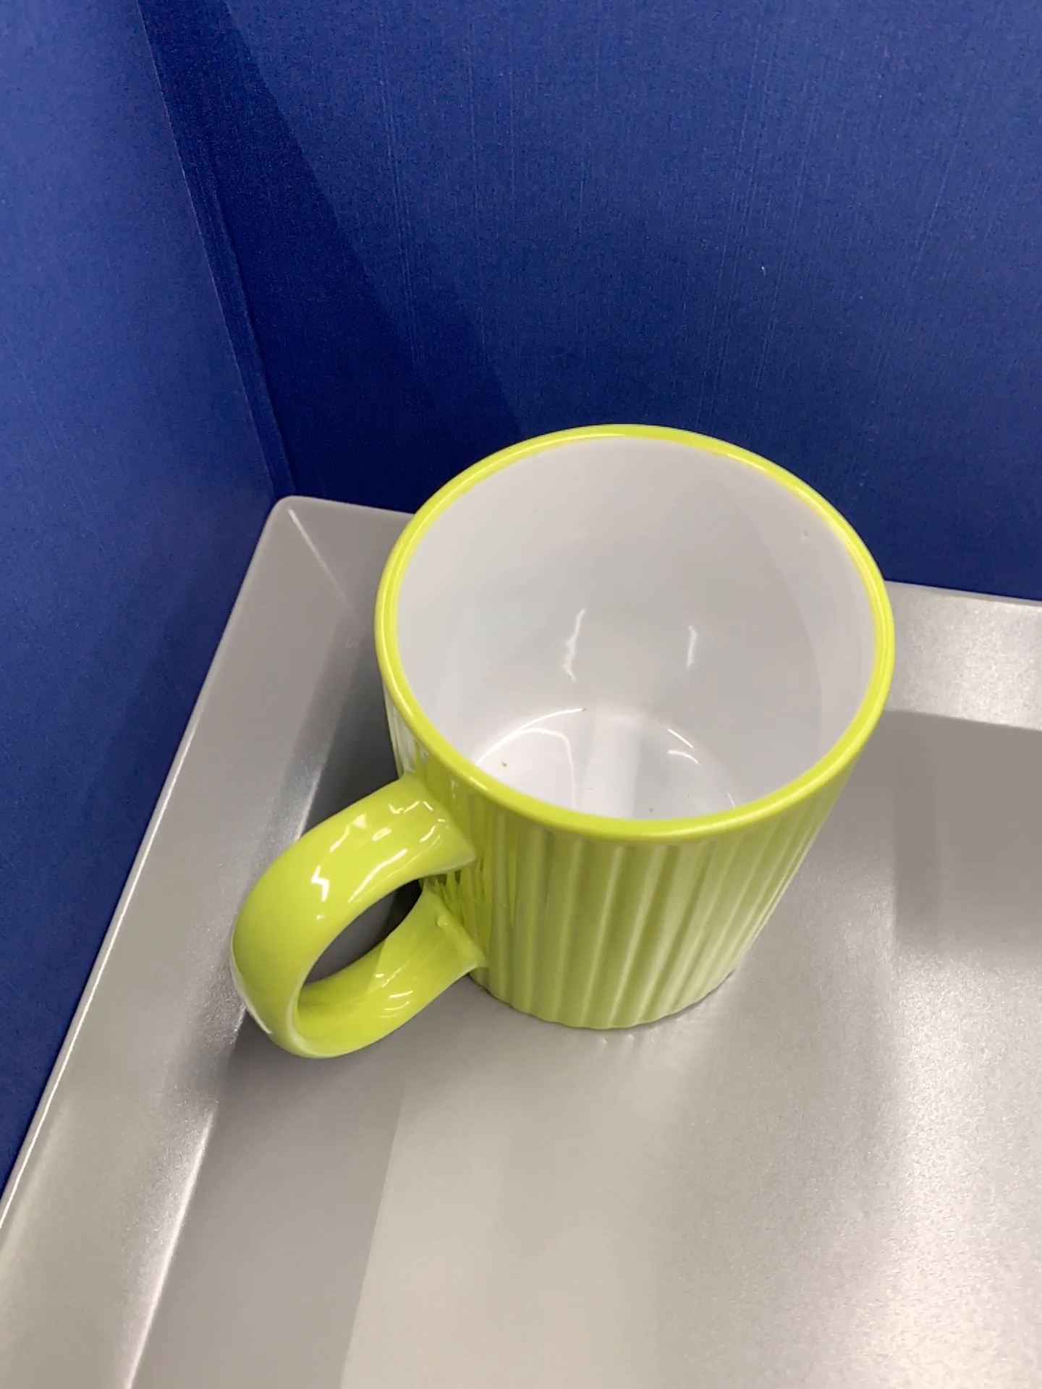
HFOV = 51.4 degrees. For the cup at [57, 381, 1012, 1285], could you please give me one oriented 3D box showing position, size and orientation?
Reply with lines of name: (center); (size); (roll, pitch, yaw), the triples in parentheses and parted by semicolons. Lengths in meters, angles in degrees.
cup: (0.004, 0.027, 0.218); (0.129, 0.098, 0.091); (-34, 62, -21)
